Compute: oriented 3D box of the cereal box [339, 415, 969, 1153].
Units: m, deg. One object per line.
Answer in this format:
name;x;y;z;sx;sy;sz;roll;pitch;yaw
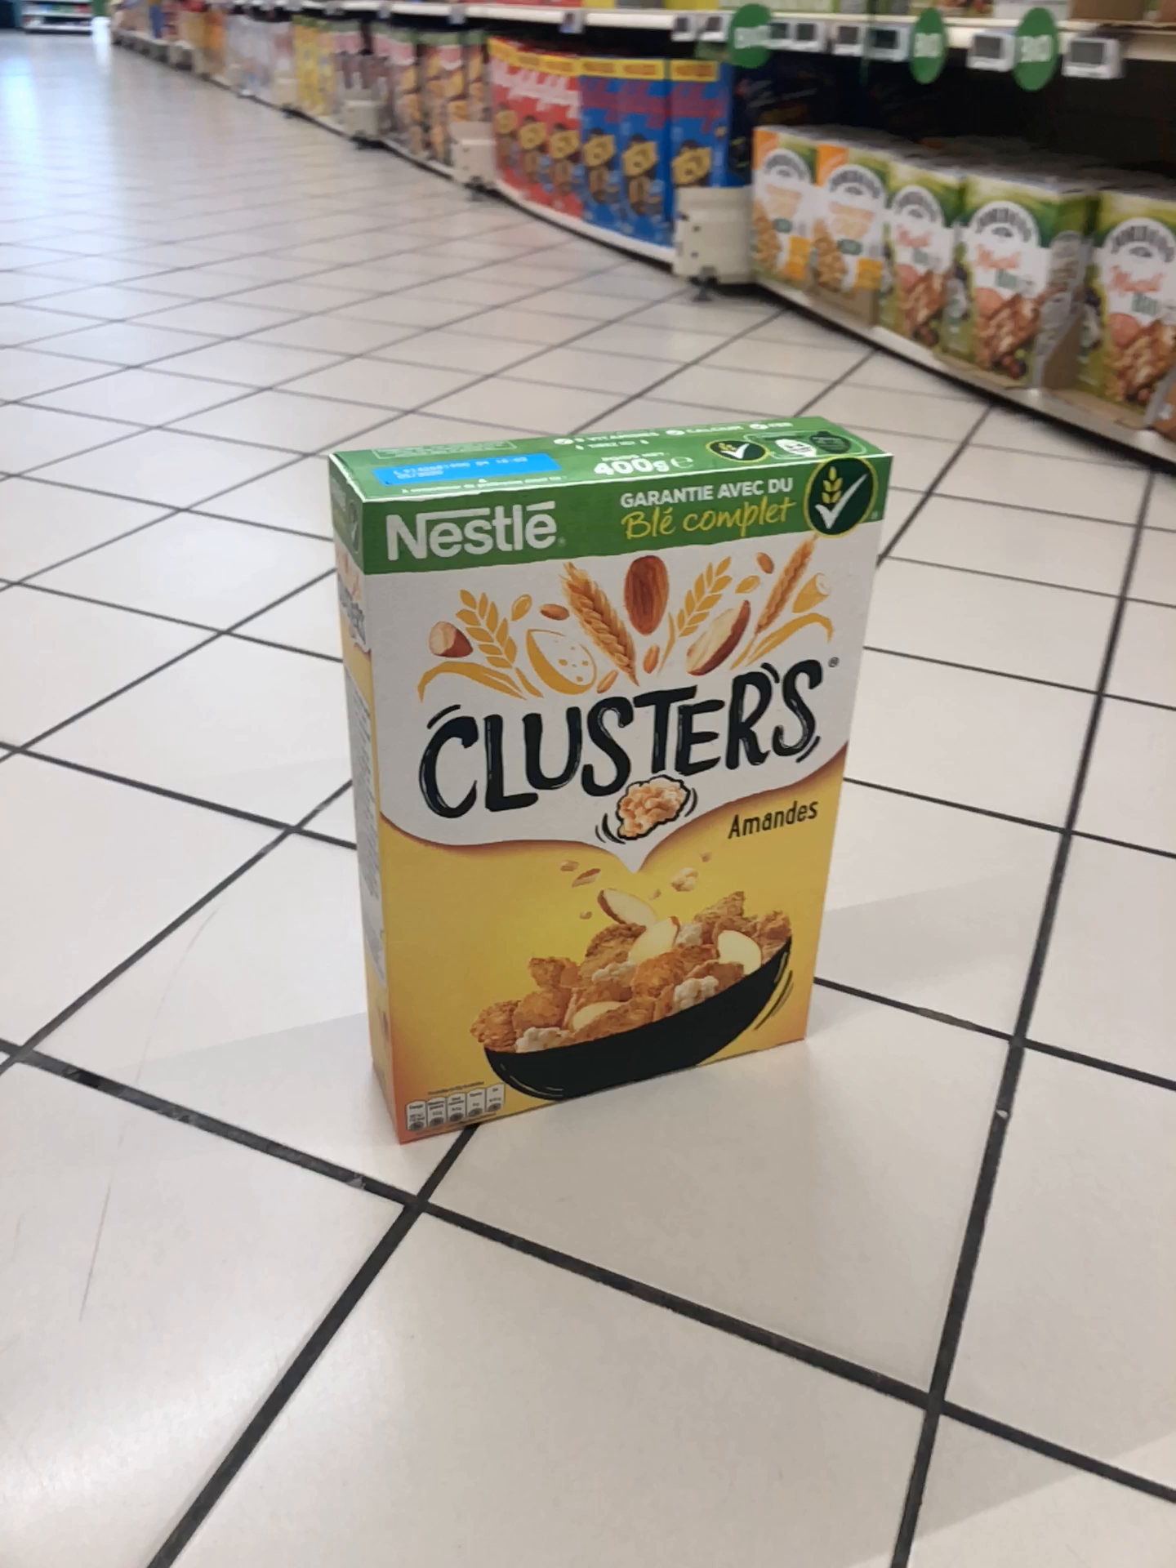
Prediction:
cereal box;0.020;0.002;0.511;0.210;0.268;0.060;-8;31;-19
